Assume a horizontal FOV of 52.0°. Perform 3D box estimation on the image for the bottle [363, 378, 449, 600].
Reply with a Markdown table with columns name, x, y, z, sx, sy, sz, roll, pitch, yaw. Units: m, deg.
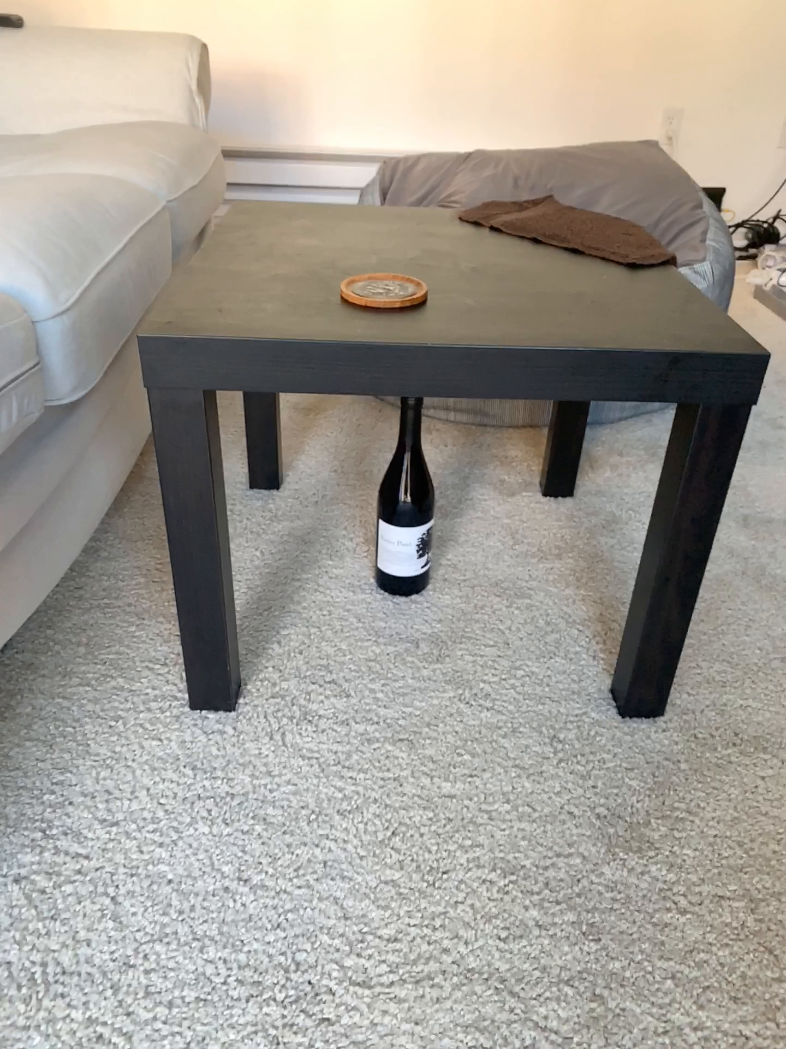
| name | x | y | z | sx | sy | sz | roll | pitch | yaw |
| --- | --- | --- | --- | --- | --- | --- | --- | --- | --- |
| bottle | 0.012 | -0.042 | 1.082 | 0.090 | 0.288 | 0.091 | 2 | 33 | -1 |
